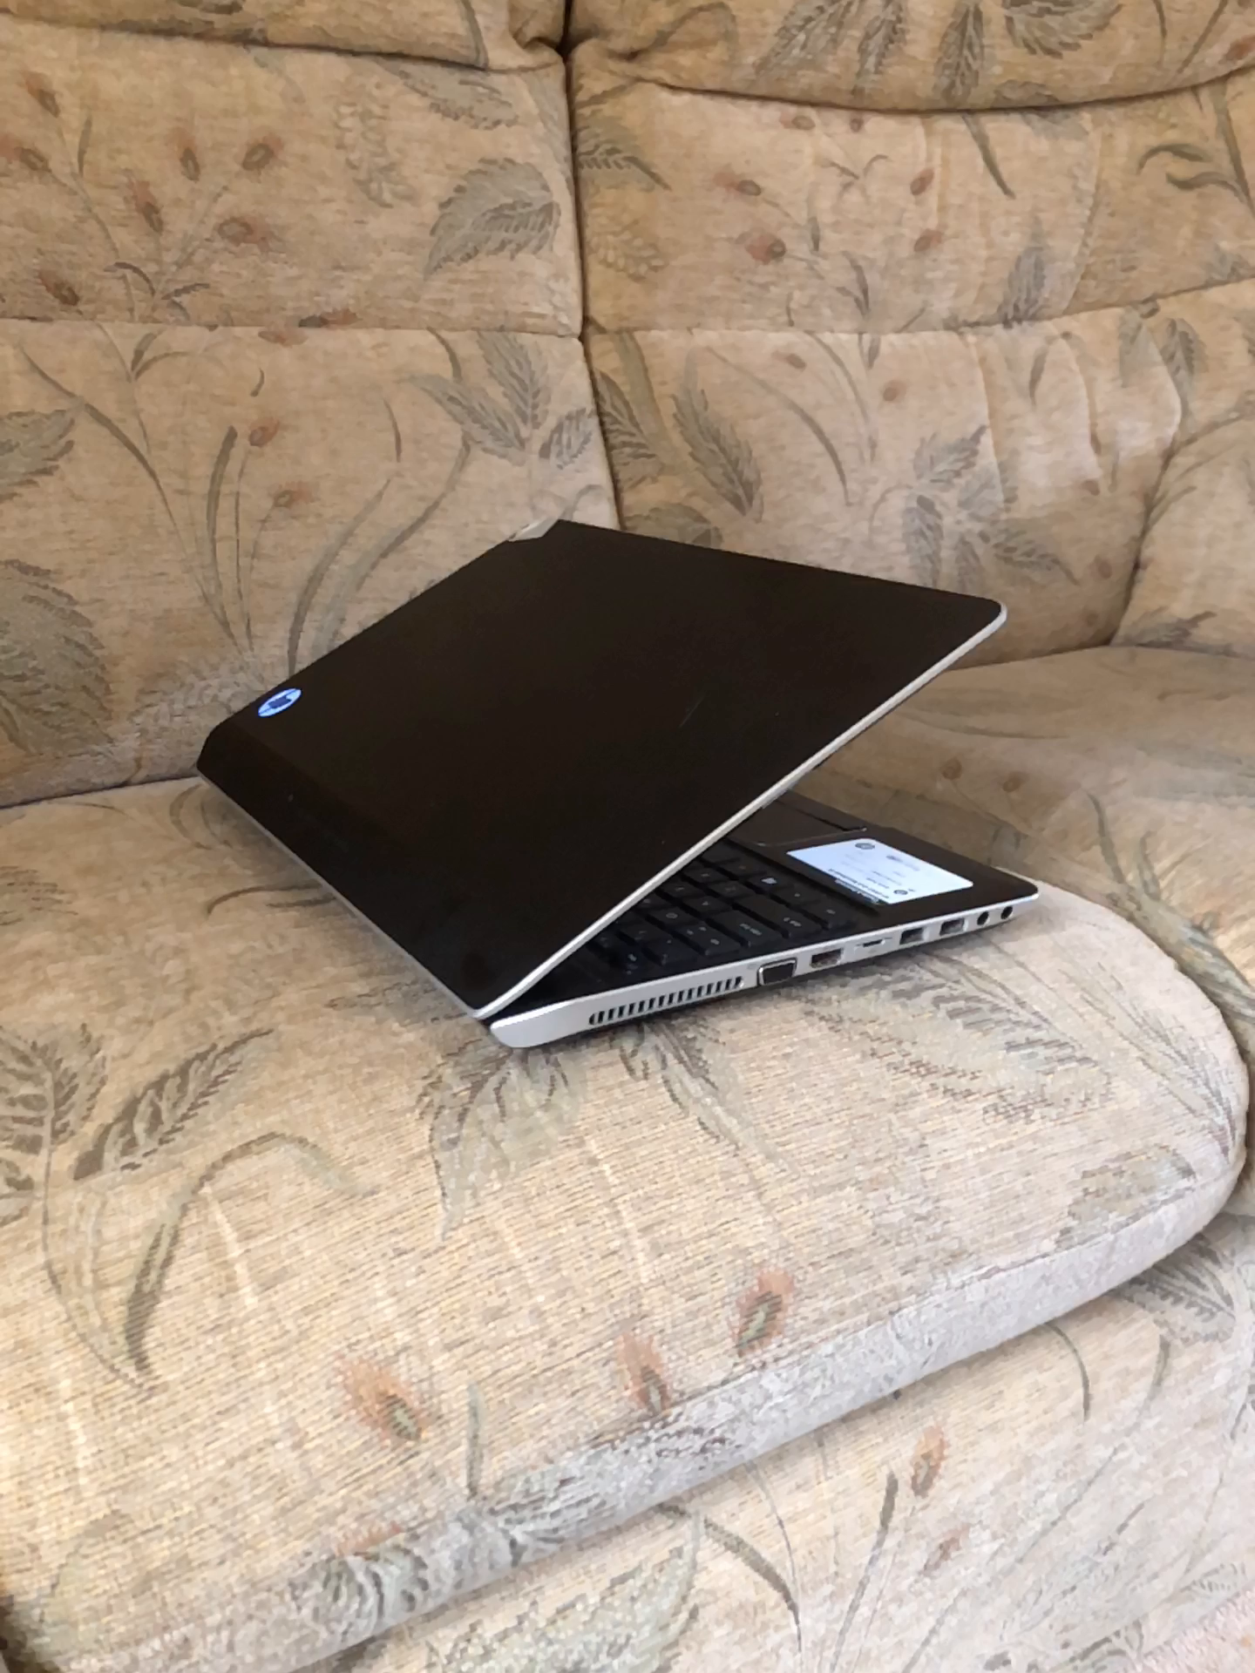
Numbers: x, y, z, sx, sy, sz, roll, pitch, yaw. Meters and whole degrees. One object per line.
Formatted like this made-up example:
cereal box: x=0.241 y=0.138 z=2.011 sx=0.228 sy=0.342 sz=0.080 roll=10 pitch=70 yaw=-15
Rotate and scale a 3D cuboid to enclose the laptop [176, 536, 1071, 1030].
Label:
laptop: x=-0.037 y=-0.062 z=0.669 sx=0.254 sy=0.113 sz=0.398 roll=-11 pitch=22 yaw=-30
